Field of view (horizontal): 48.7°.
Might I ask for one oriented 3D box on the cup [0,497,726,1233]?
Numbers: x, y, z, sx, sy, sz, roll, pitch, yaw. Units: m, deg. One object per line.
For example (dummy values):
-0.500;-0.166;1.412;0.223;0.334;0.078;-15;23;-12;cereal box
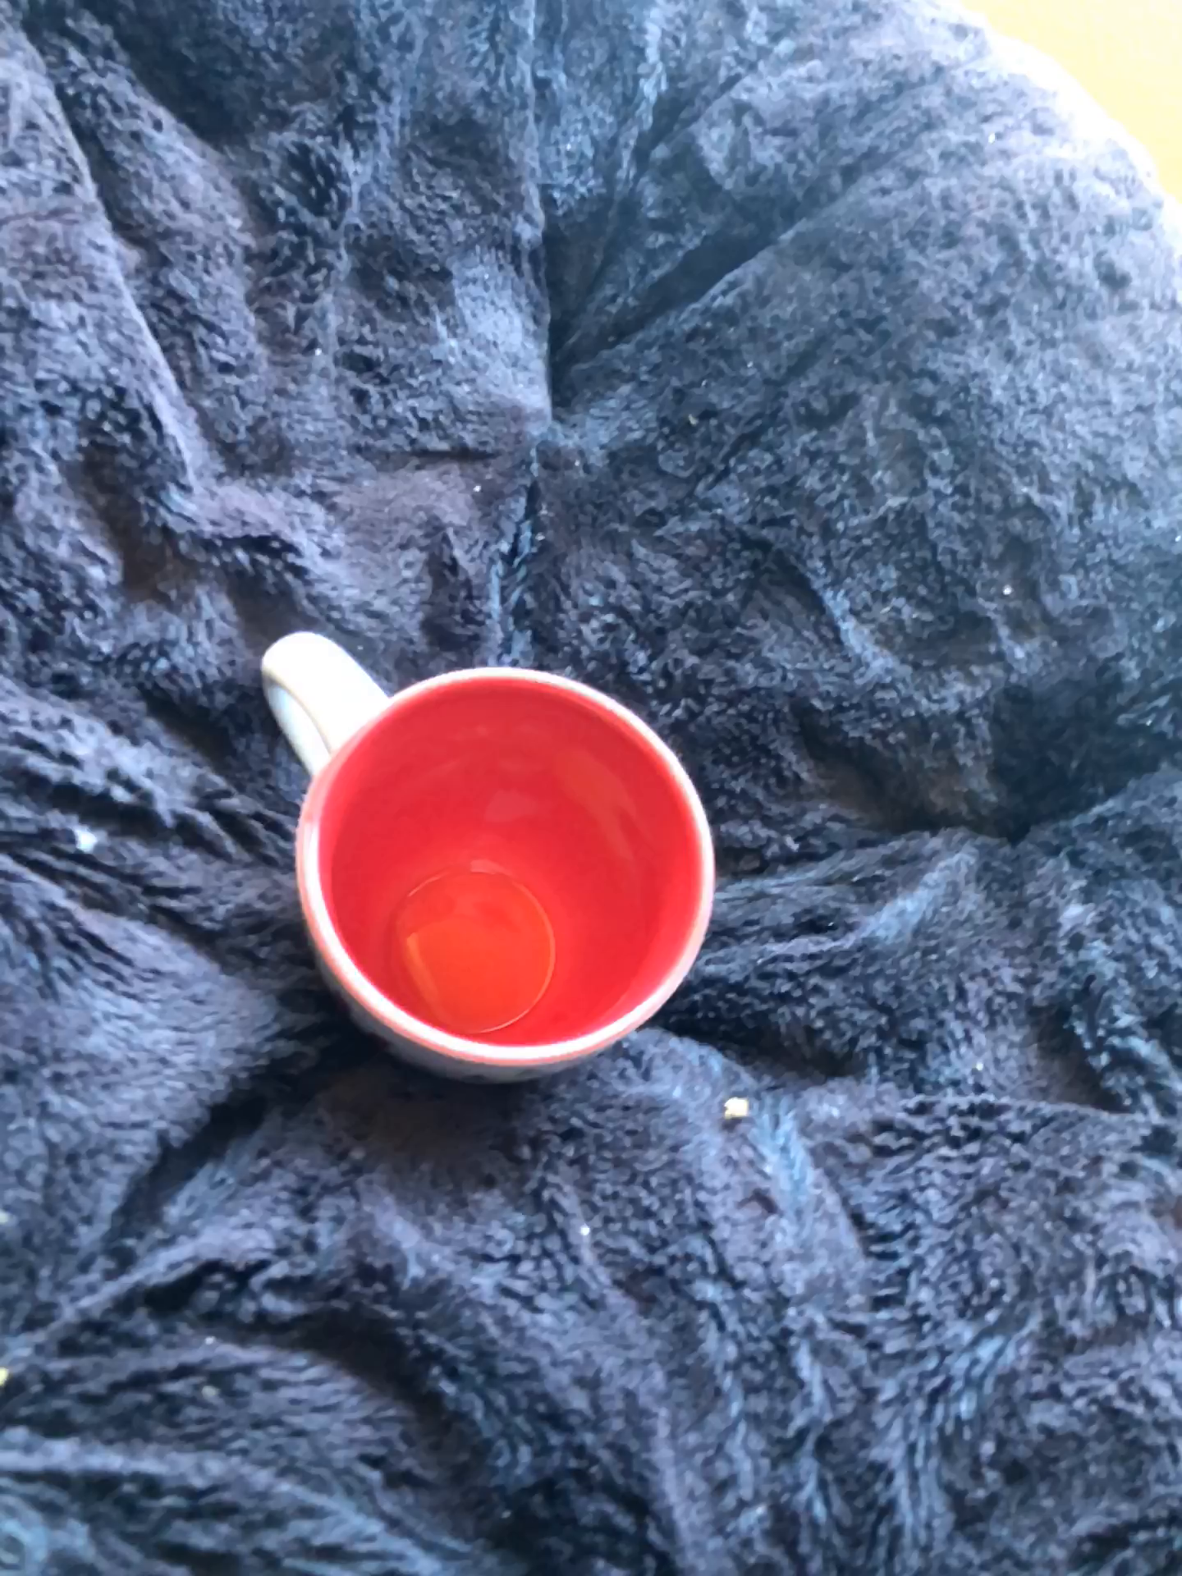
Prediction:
-0.065;0.027;0.345;0.140;0.110;0.100;40;63;2;cup
